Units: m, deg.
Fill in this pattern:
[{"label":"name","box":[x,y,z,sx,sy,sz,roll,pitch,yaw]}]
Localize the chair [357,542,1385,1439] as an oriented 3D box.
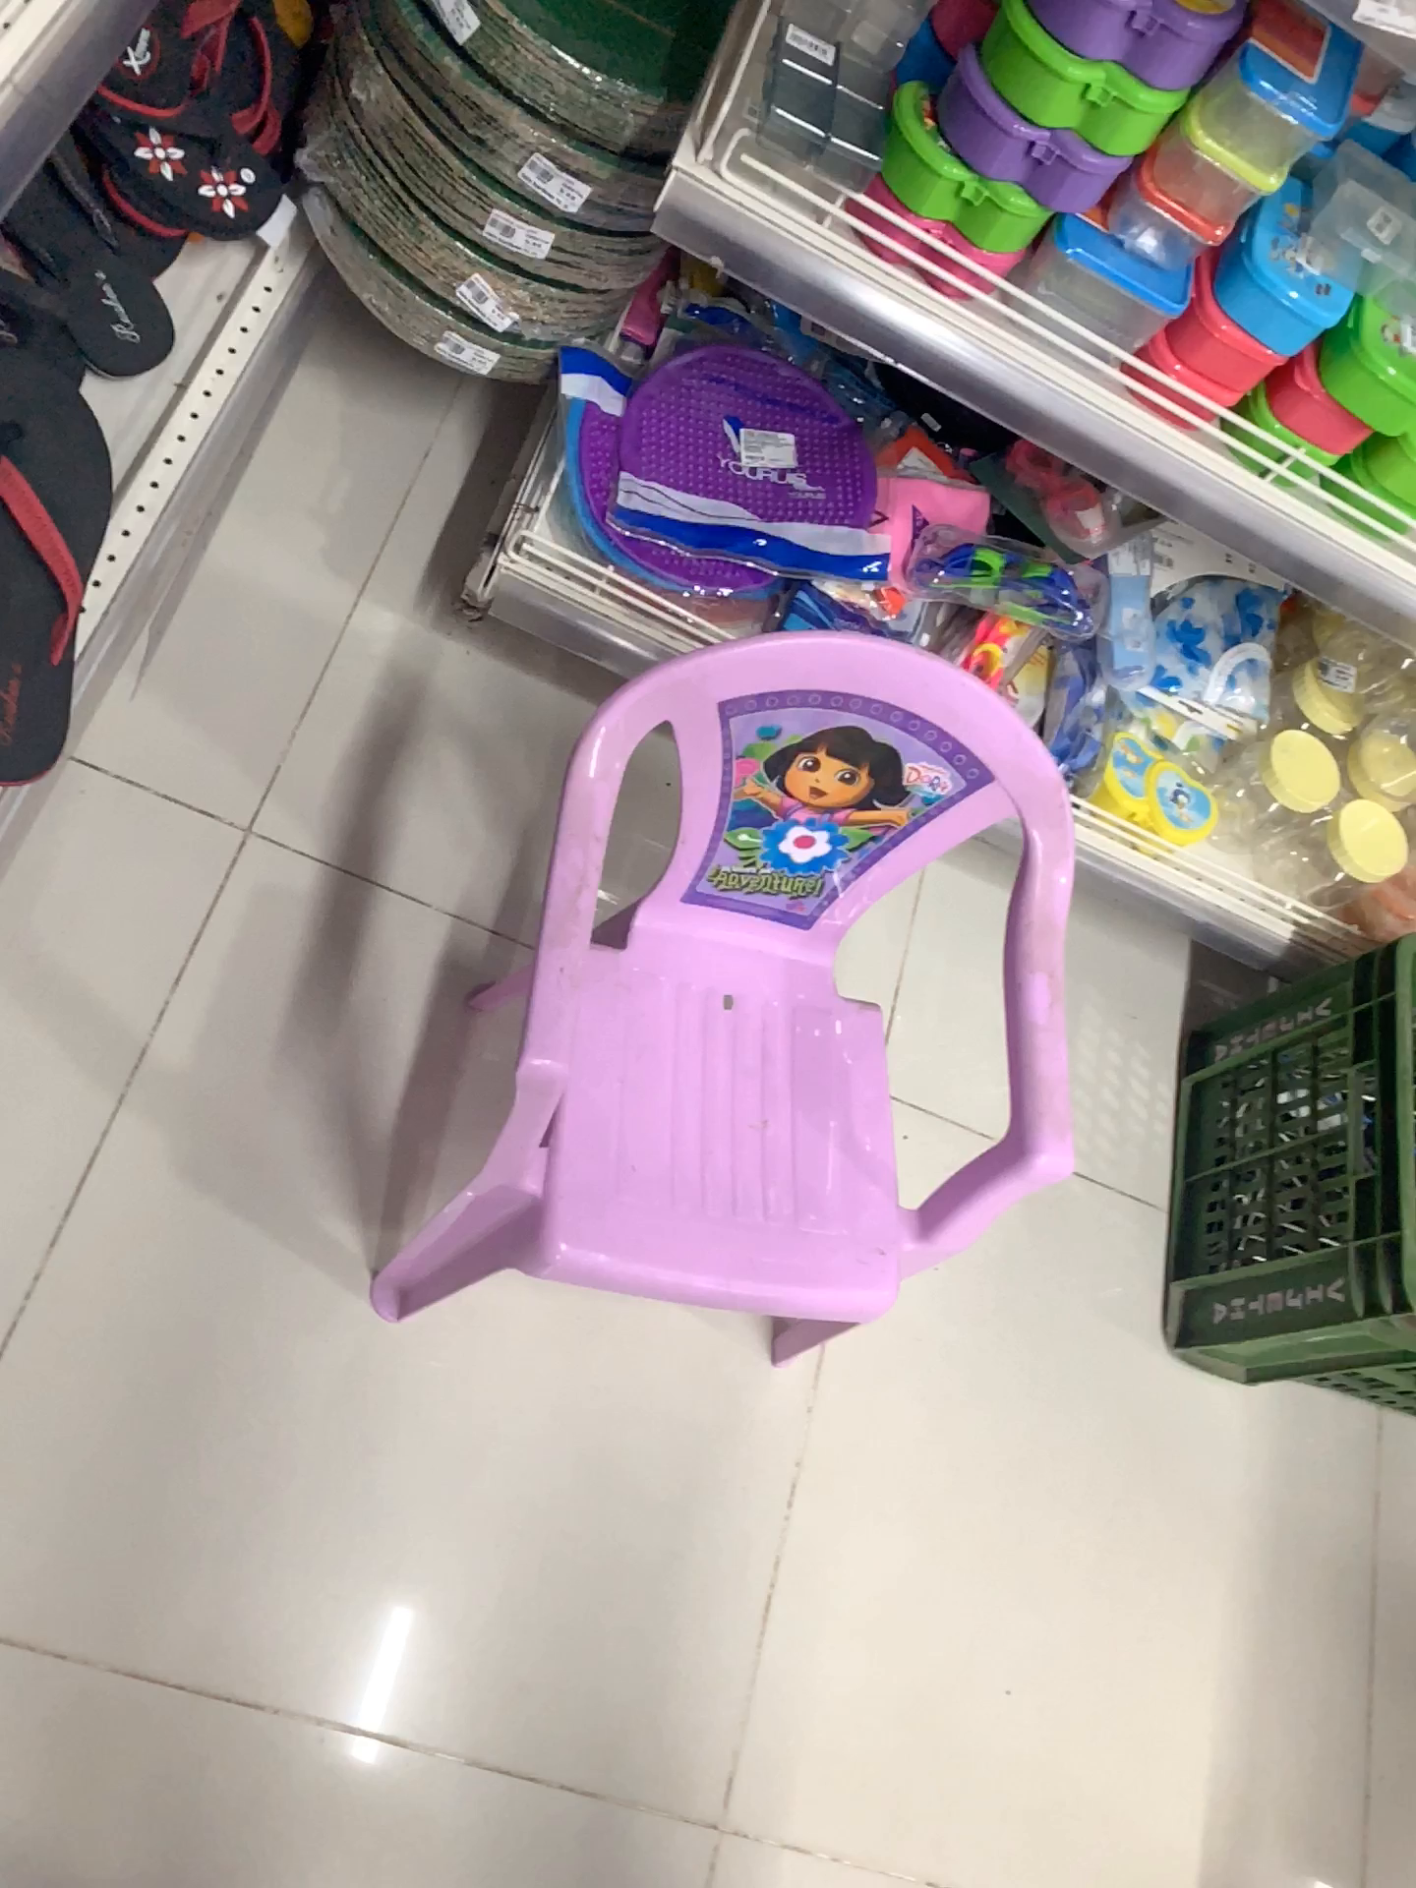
[{"label":"chair","box":[0.057,0.084,0.847,0.400,0.429,0.340,12,65,-19]}]
